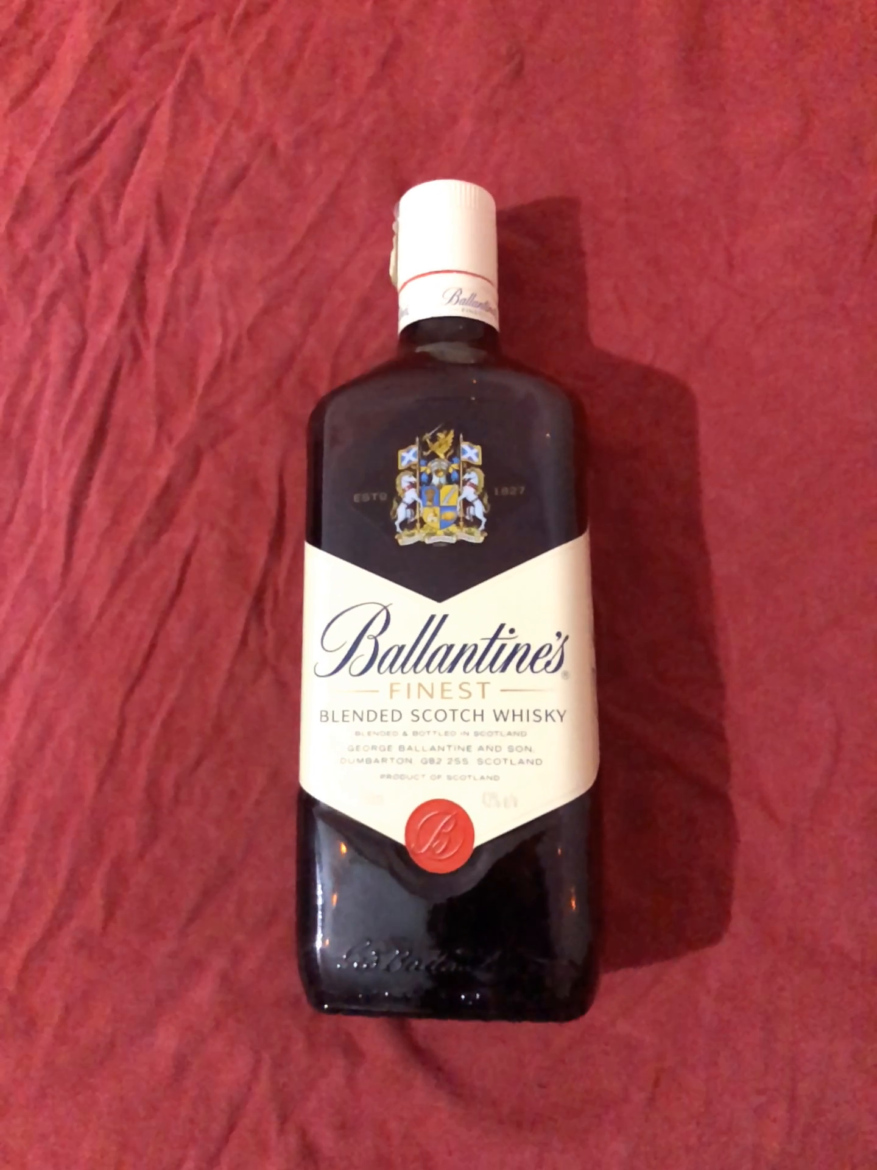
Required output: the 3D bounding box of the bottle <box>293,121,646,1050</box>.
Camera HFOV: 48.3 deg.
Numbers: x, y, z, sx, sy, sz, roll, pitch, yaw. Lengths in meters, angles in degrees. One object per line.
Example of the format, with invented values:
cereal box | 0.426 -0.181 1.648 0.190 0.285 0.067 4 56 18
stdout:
bottle | 0.009 -0.004 0.290 0.090 0.050 0.250 -1 83 5
